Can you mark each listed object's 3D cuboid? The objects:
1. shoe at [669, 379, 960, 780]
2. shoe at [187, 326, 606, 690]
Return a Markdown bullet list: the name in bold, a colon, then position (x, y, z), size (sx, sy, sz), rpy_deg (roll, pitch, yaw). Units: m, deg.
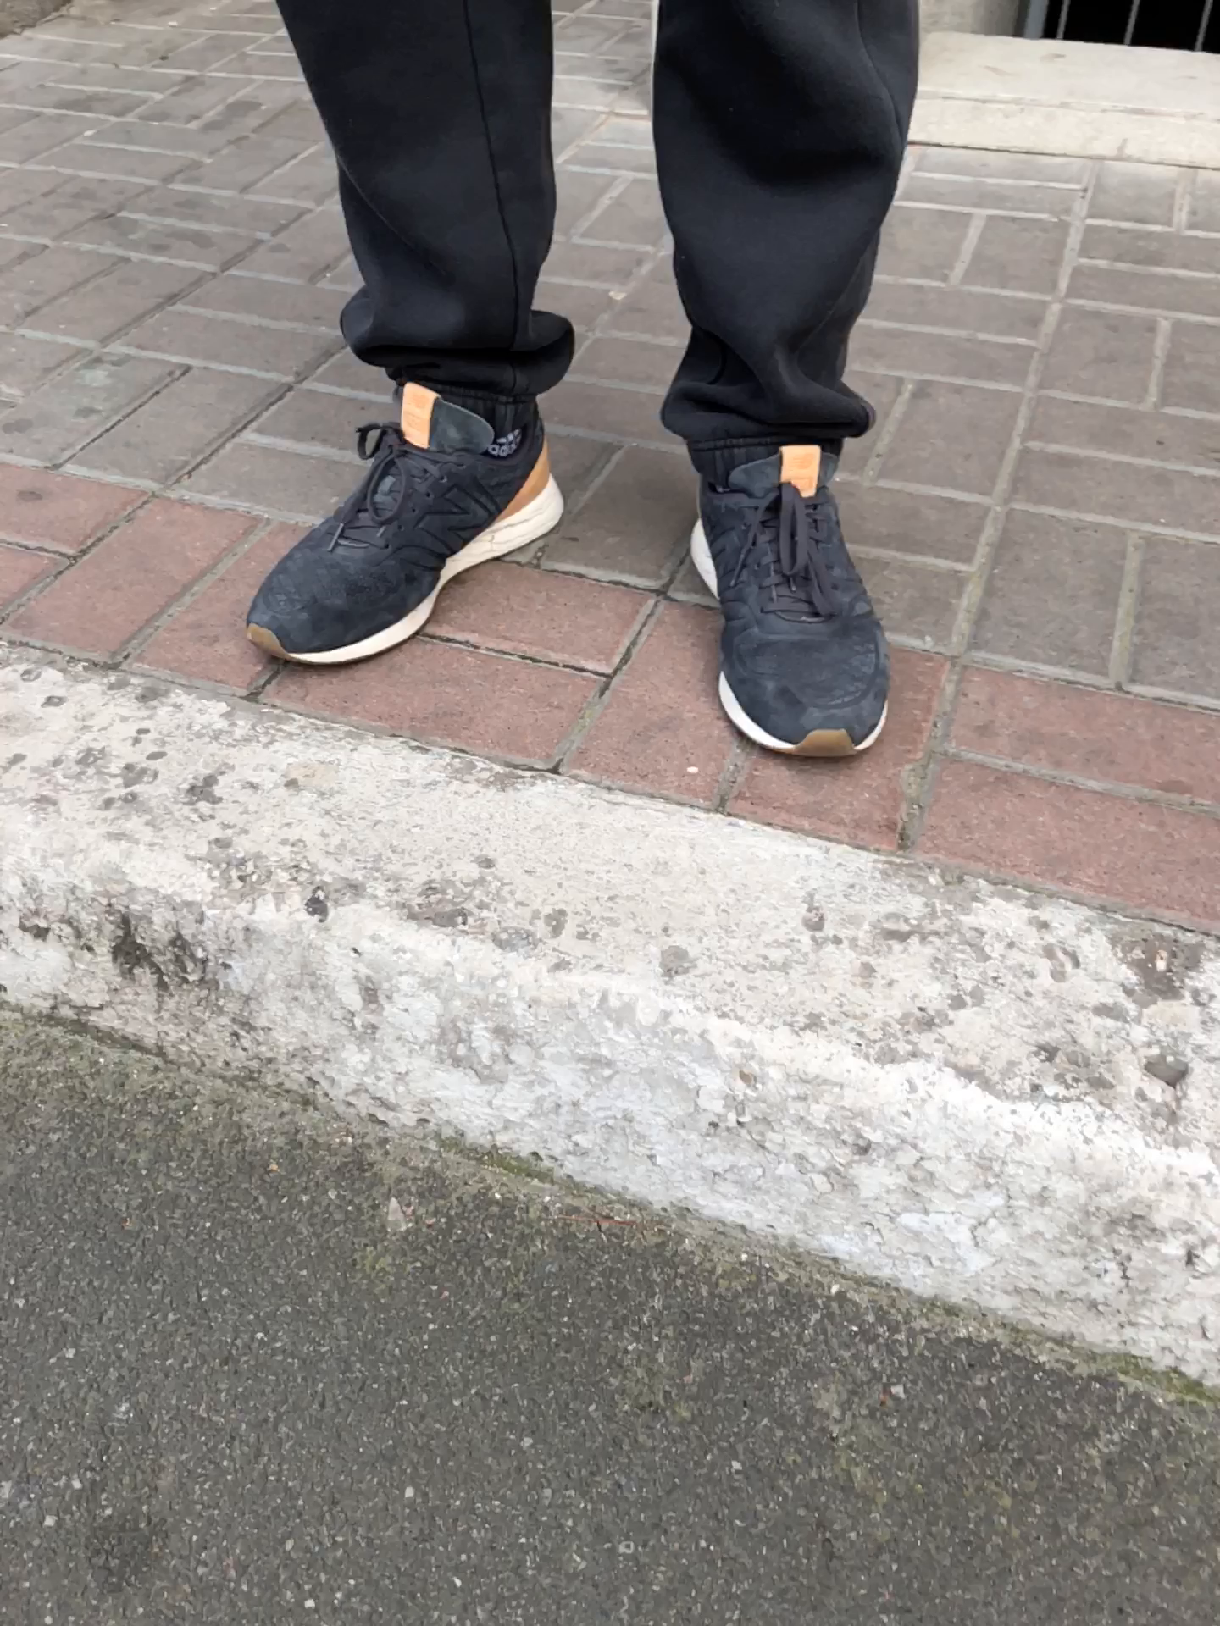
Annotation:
- **shoe**: position (0.111, -0.155, 0.824), size (0.104, 0.109, 0.282), rpy_deg (-4, 41, -5)
- **shoe**: position (-0.124, -0.211, 0.878), size (0.104, 0.109, 0.281), rpy_deg (24, 46, 25)
